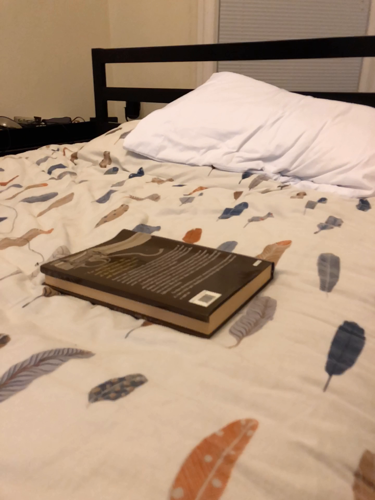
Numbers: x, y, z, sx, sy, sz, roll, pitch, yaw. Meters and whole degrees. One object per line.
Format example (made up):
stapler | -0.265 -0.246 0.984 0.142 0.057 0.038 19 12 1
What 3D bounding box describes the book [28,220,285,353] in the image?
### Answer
book | -0.034 0.023 0.487 0.240 0.030 0.181 14 26 31
